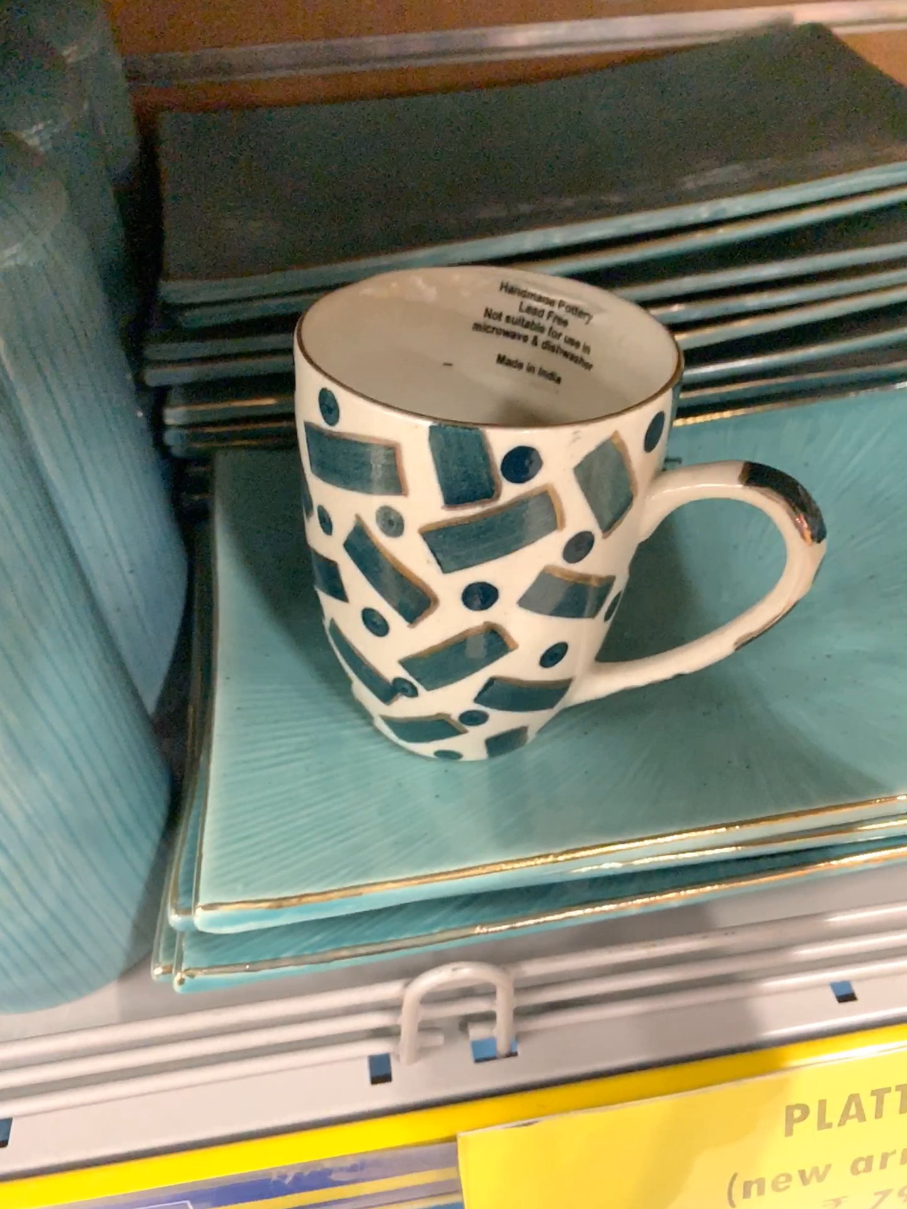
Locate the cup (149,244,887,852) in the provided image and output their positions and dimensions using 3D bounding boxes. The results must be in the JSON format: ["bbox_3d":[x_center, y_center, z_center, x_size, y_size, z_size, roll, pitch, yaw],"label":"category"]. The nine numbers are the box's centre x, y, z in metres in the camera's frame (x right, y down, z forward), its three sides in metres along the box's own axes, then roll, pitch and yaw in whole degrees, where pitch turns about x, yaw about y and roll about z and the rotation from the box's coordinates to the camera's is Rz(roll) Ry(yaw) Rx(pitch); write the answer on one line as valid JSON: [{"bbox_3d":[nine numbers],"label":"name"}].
[{"bbox_3d":[0.011,-0.015,0.196,0.110,0.080,0.080,9,38,5],"label":"cup"}]
